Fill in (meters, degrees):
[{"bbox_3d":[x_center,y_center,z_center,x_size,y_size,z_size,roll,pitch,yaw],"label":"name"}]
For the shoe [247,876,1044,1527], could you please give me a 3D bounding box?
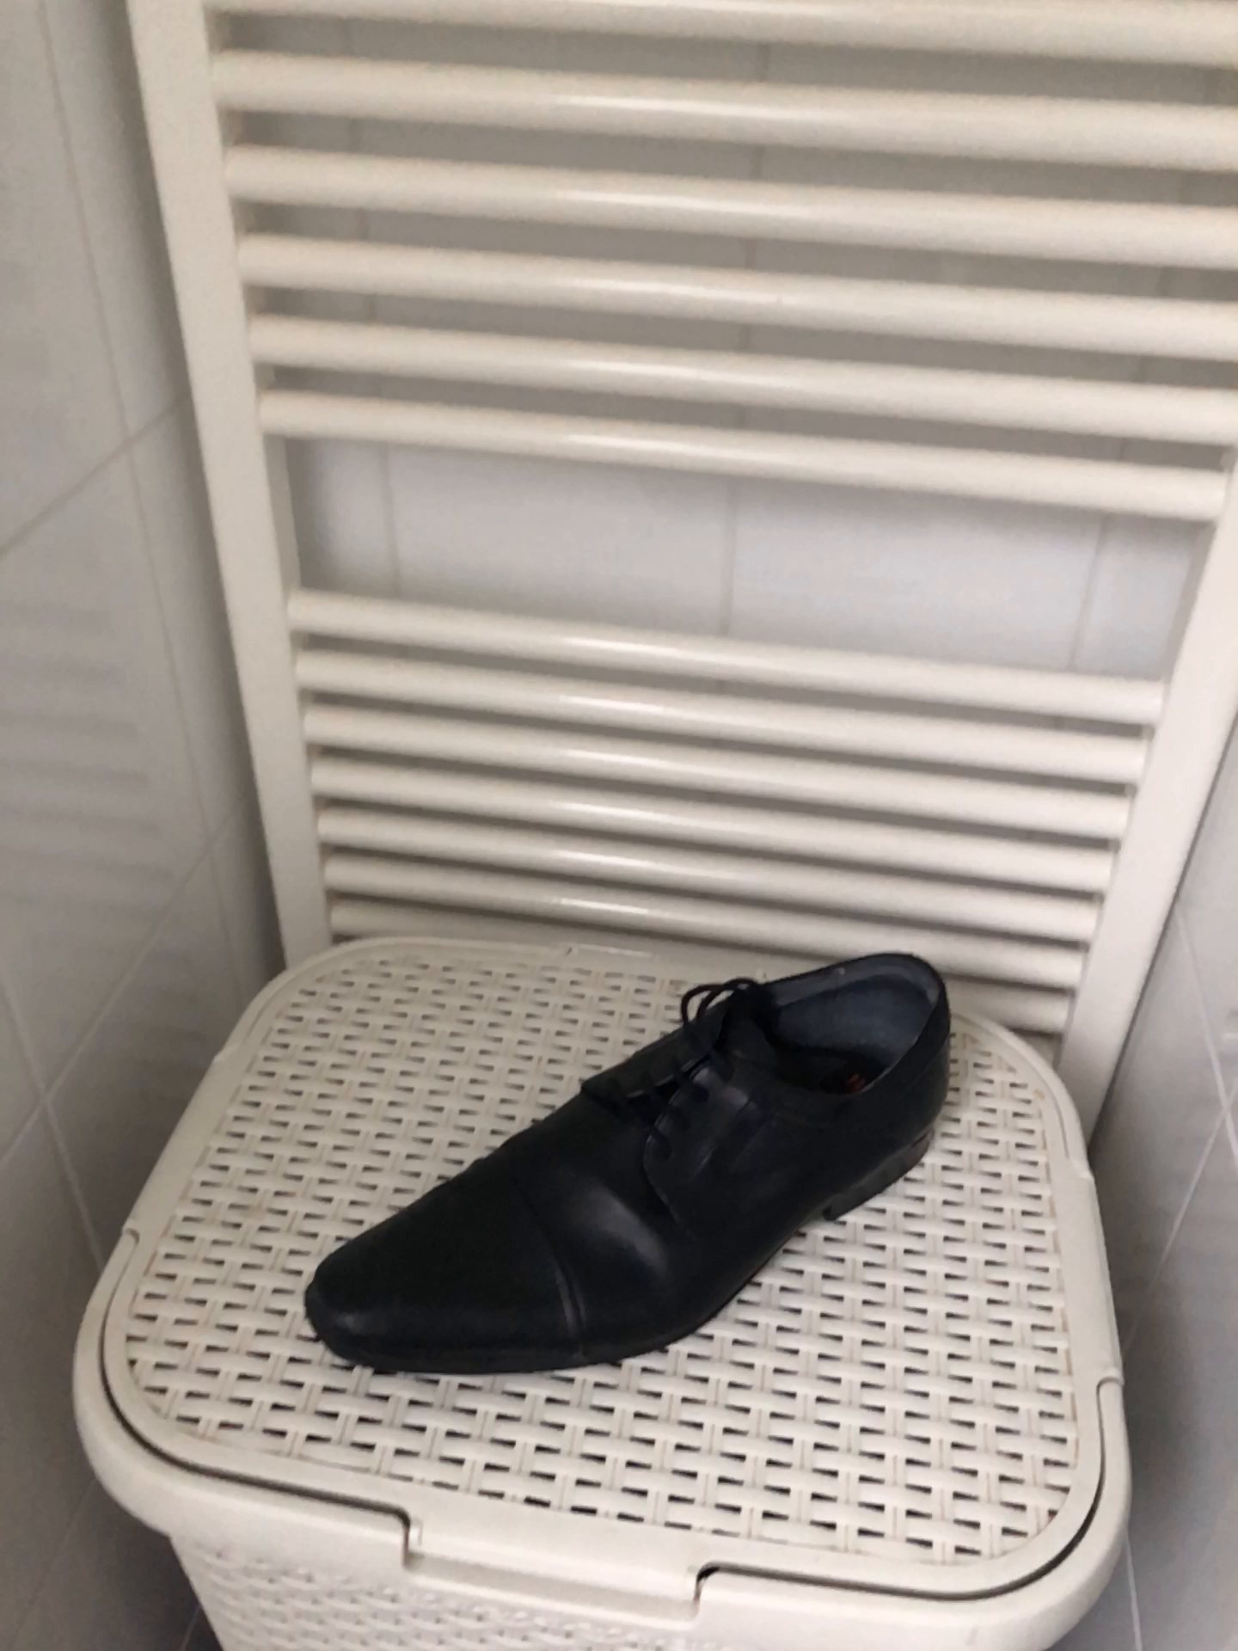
[{"bbox_3d":[0.019,0.141,0.576,0.311,0.099,0.110,-20,42,-26],"label":"shoe"}]
